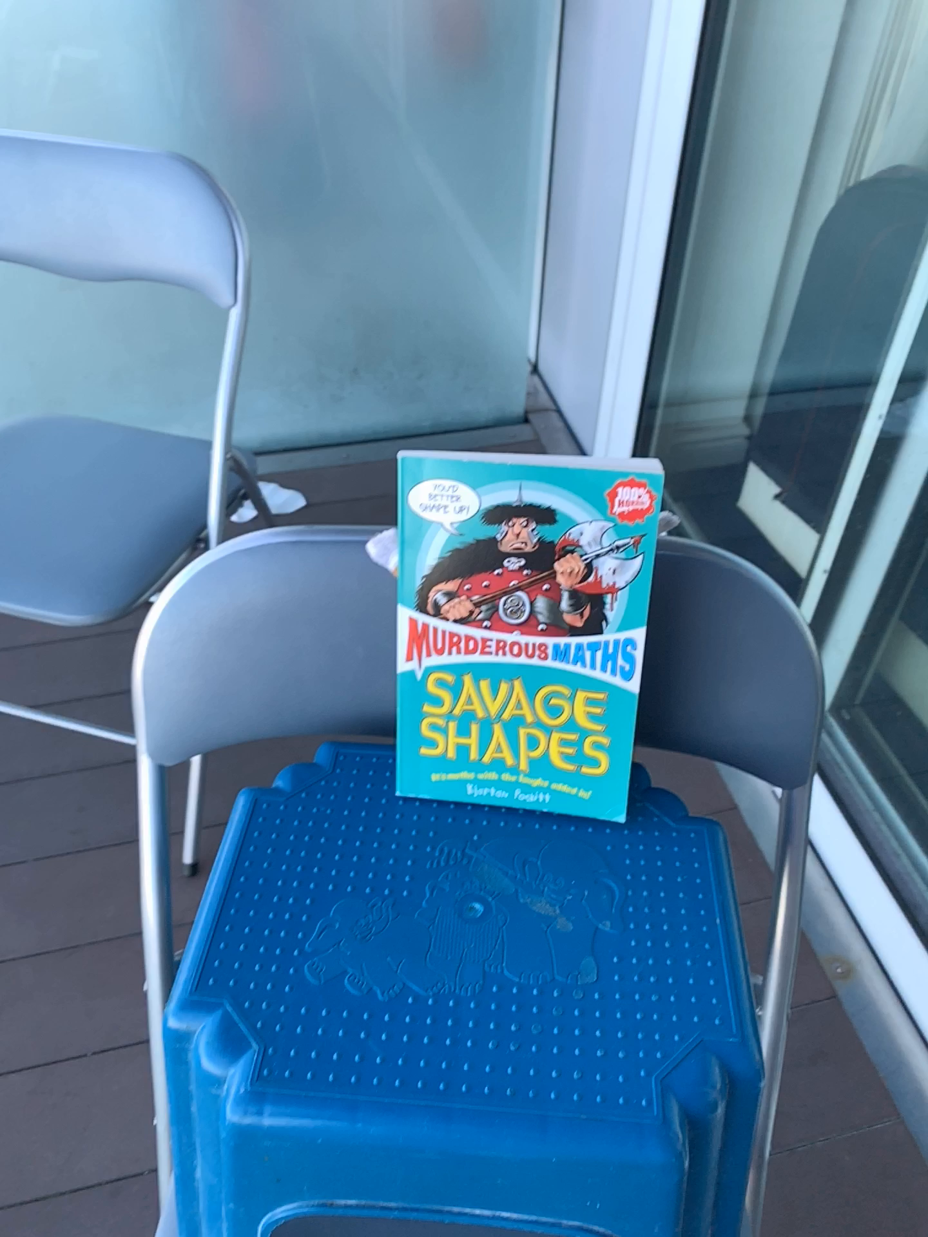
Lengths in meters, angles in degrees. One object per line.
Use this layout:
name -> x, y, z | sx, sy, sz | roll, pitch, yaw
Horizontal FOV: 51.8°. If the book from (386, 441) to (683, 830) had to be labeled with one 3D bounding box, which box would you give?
book -> 0.030, 0.013, 0.490 | 0.133, 0.193, 0.029 | 5, 23, 4
